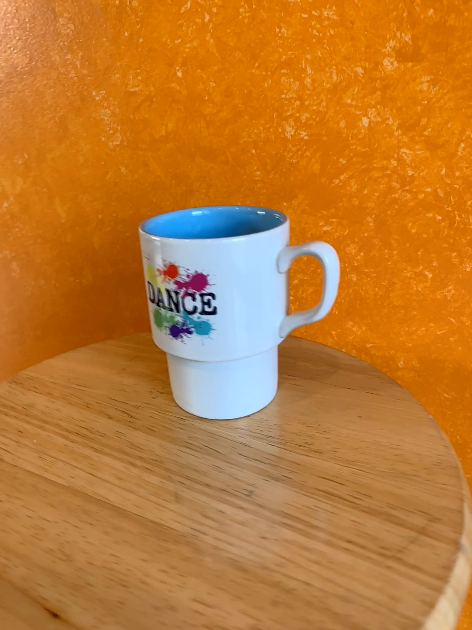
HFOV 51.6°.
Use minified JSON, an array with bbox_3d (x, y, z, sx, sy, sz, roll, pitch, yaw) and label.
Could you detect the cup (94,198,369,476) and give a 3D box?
[{"bbox_3d":[-0.002,0.001,0.277,0.120,0.109,0.080,14,28,34],"label":"cup"}]
